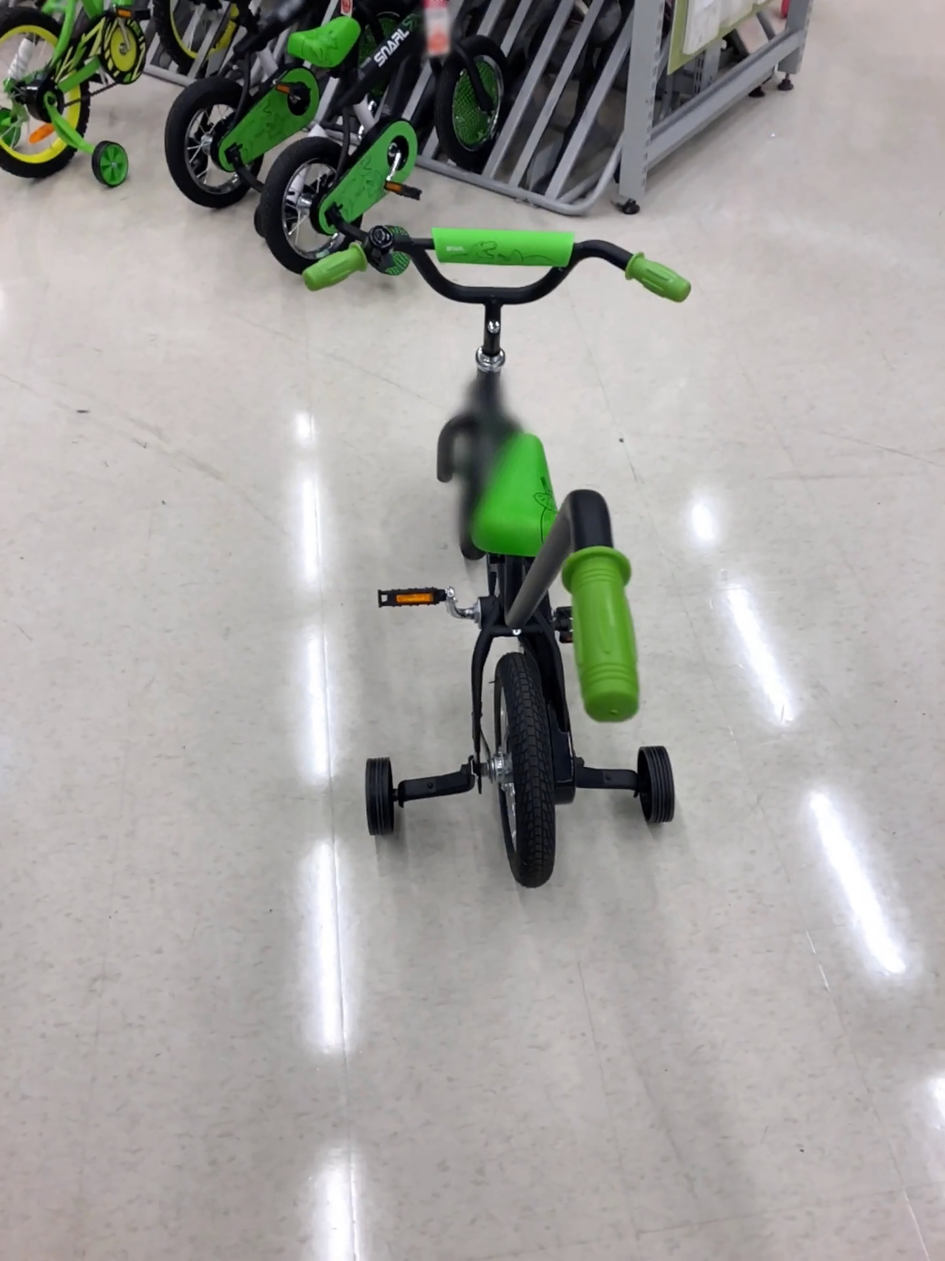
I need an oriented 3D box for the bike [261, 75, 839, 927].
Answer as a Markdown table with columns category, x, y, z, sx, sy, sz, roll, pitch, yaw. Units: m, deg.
| category | x | y | z | sx | sy | sz | roll | pitch | yaw |
| --- | --- | --- | --- | --- | --- | --- | --- | --- | --- |
| bike | 0.041 | -0.183 | 1.350 | 0.490 | 0.600 | 0.850 | -4 | 52 | -2 |
